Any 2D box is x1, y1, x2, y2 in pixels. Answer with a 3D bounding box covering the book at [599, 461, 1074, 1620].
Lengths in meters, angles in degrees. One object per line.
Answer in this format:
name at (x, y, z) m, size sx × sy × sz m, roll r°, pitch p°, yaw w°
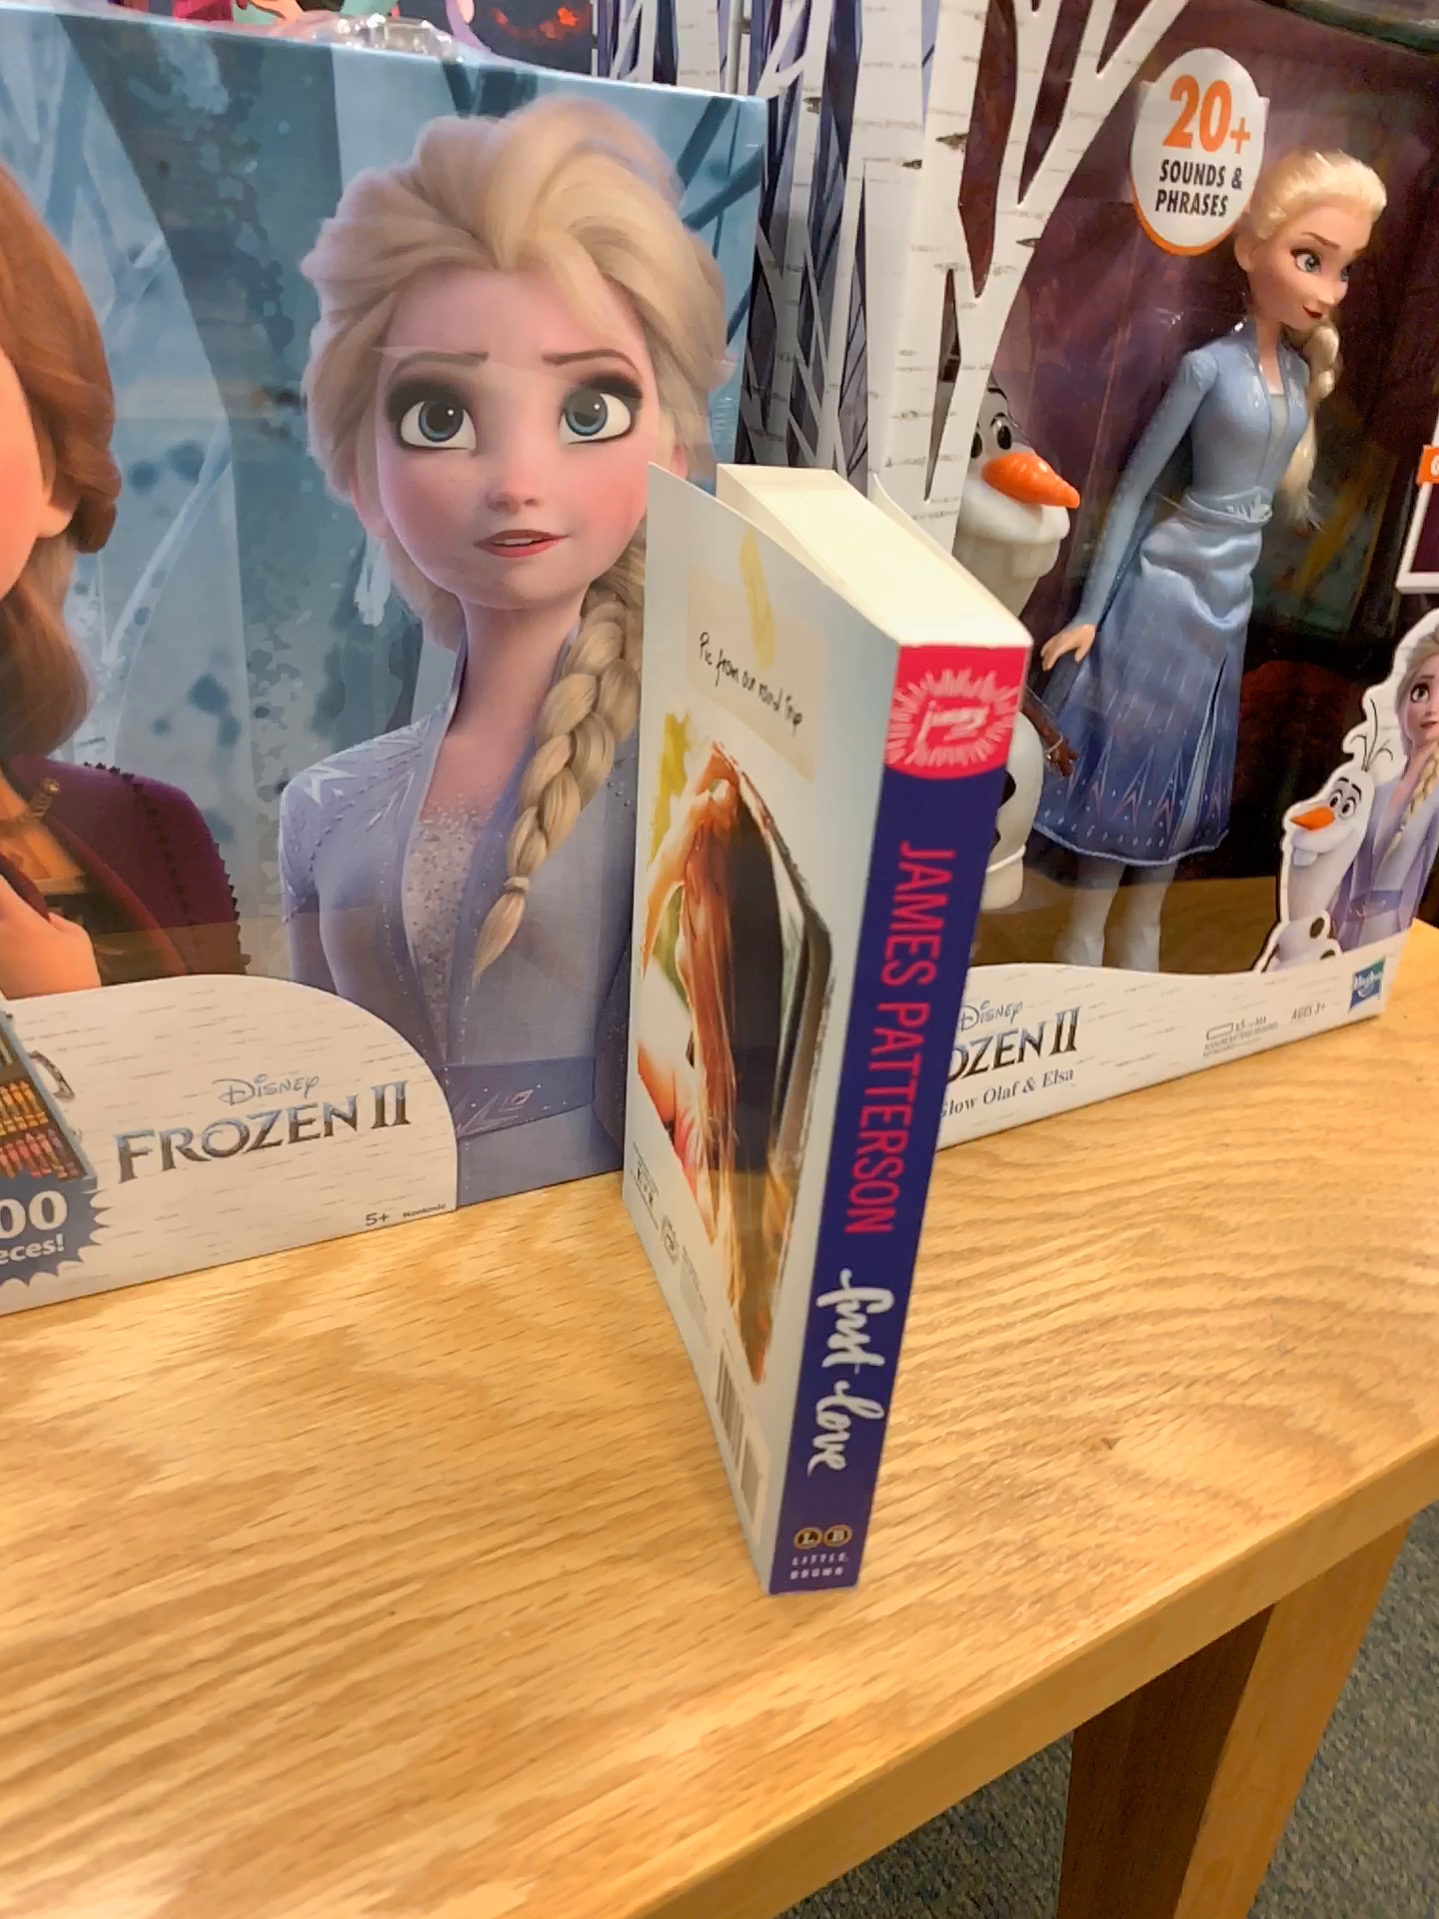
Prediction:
book at (0.009, 0.011, 0.324) m, size 0.059 × 0.205 × 0.143 m, roll -2°, pitch 28°, yaw -9°
